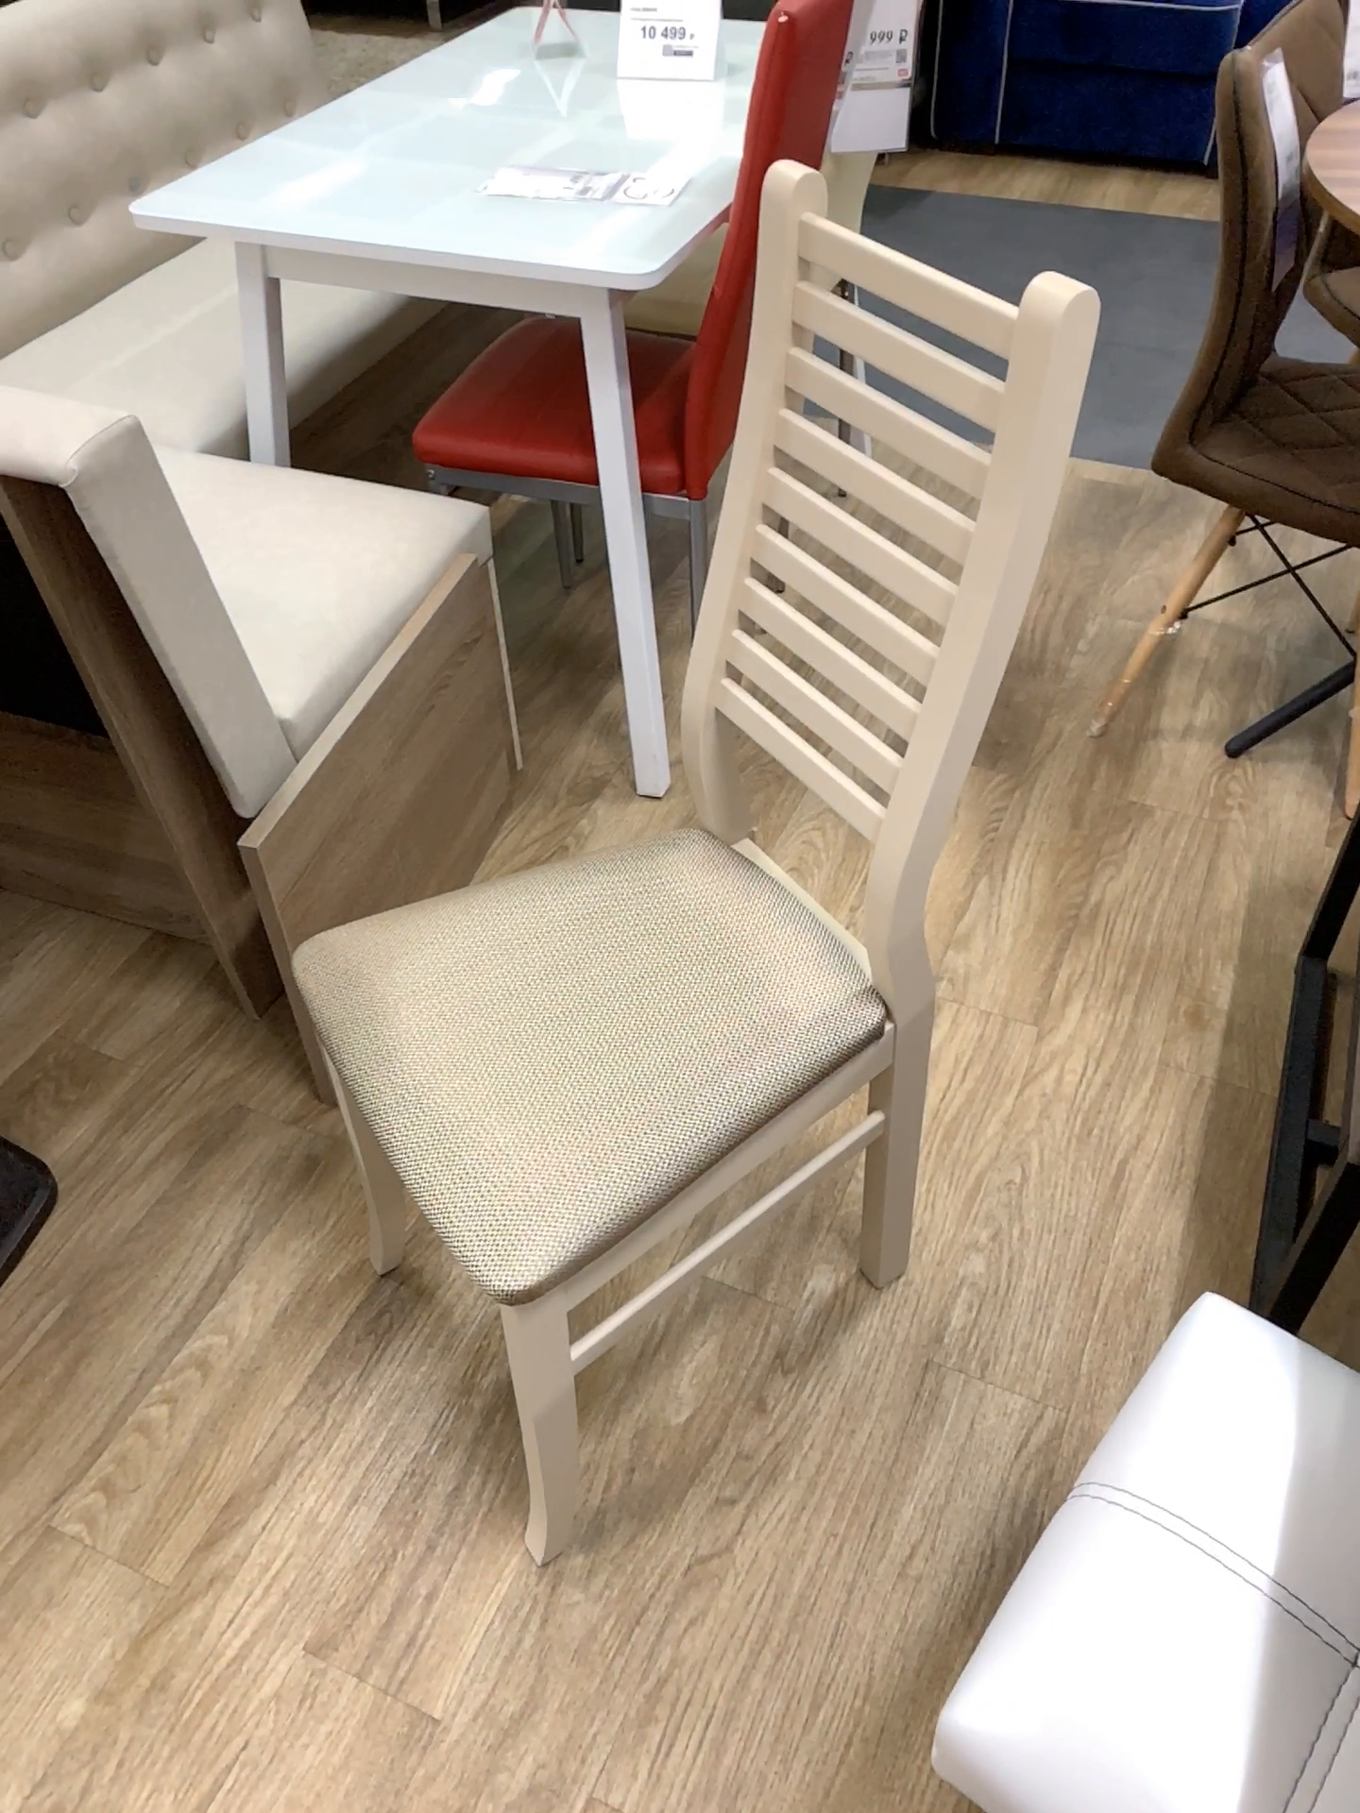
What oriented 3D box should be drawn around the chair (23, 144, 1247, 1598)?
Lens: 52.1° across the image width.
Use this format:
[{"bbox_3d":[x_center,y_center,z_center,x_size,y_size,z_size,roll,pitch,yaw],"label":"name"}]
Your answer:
[{"bbox_3d":[-0.028,0.023,1.134,0.551,0.985,0.442,-25,48,-22],"label":"chair"}]
